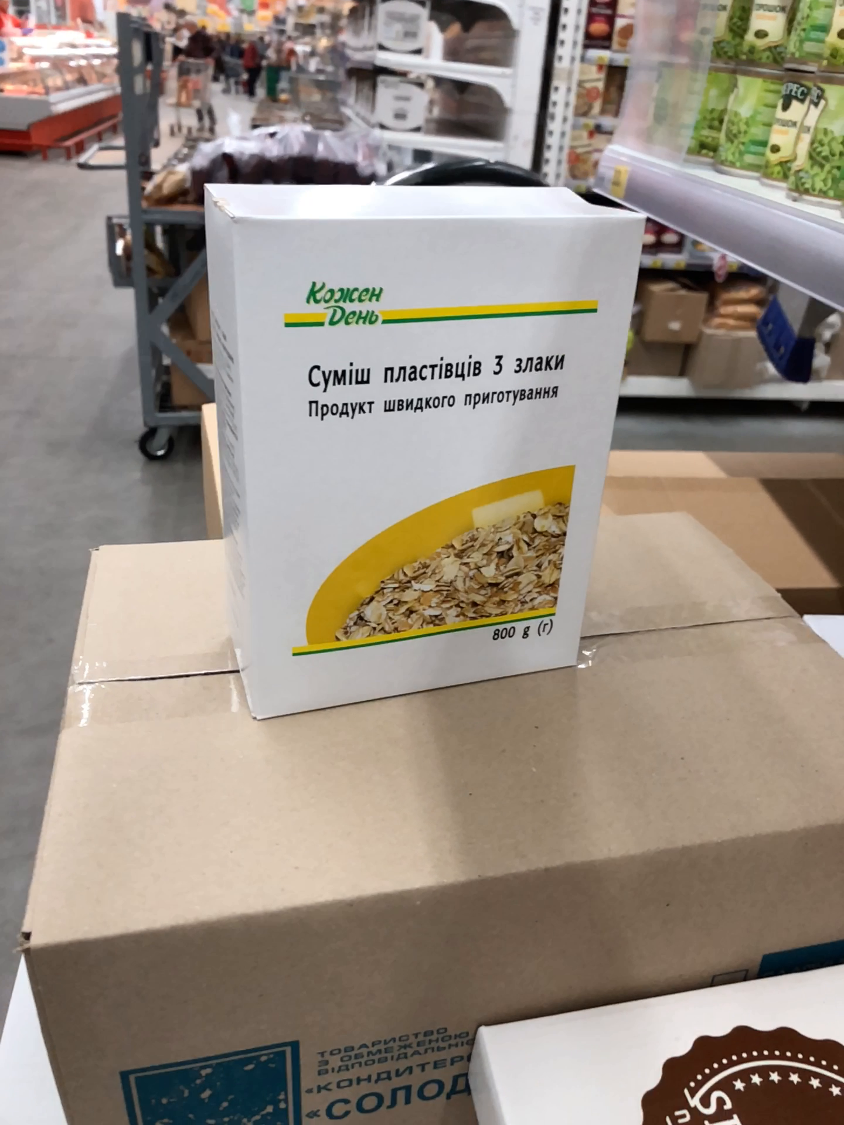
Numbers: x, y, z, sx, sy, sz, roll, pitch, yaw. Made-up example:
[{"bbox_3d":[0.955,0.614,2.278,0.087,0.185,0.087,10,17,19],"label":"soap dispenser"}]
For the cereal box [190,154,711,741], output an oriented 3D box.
[{"bbox_3d":[0.005,-0.047,0.377,0.170,0.209,0.070,-7,30,-18],"label":"cereal box"}]
